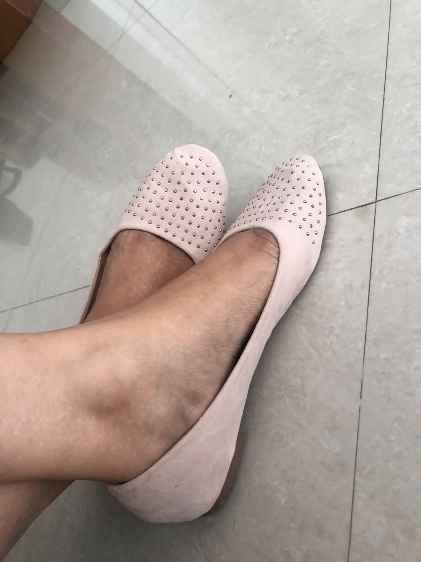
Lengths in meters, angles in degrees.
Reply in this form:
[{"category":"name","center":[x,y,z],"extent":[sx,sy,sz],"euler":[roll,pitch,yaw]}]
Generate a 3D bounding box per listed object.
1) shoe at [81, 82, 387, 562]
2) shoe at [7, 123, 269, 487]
[{"category":"shoe","center":[0.025,0.023,0.295],"extent":[0.100,0.079,0.270],"euler":[-6,60,49]},{"category":"shoe","center":[-0.050,0.016,0.358],"extent":[0.060,0.090,0.240],"euler":[68,-133,-87]}]
